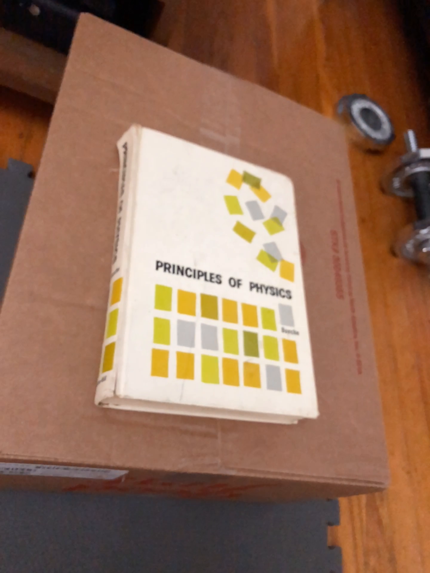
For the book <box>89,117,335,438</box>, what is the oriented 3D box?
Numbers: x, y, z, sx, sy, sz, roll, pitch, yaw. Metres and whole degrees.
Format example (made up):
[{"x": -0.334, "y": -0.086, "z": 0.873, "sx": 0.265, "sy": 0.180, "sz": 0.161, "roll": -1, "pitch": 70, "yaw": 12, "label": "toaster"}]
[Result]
[{"x": 0.003, "y": -0.010, "z": 0.412, "sx": 0.180, "sy": 0.040, "sz": 0.251, "roll": 13, "pitch": 60, "yaw": -23, "label": "book"}]
